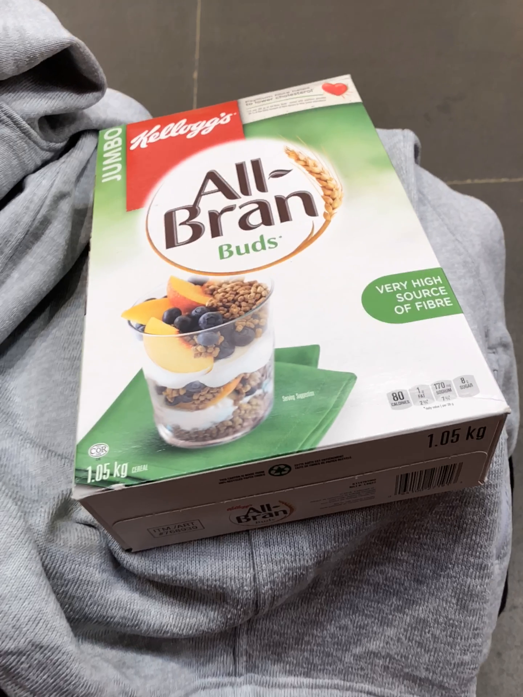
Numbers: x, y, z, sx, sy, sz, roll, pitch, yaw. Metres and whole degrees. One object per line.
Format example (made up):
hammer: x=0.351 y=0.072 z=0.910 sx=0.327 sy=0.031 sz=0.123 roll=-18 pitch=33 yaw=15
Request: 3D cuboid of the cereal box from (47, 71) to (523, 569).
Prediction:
cereal box: x=0.000 y=-0.045 z=0.356 sx=0.200 sy=0.070 sz=0.301 roll=-12 pitch=49 yaw=4
